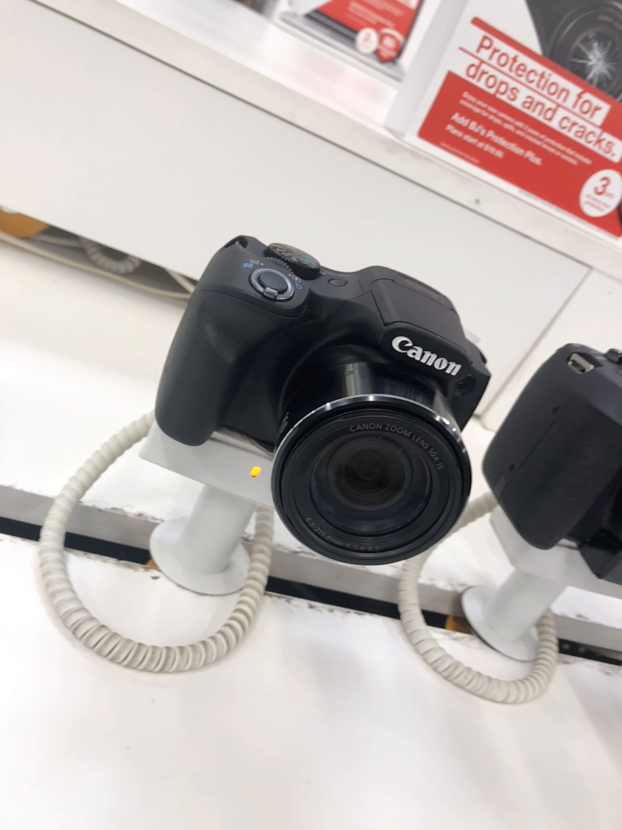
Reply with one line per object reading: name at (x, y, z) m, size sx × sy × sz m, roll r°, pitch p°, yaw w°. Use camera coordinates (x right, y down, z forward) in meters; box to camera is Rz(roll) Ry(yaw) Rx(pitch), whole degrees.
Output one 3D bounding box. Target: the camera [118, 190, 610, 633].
camera at (0.014, -0.002, 0.243) m, size 0.120 × 0.089 × 0.080 m, roll 23°, pitch 27°, yaw -13°
